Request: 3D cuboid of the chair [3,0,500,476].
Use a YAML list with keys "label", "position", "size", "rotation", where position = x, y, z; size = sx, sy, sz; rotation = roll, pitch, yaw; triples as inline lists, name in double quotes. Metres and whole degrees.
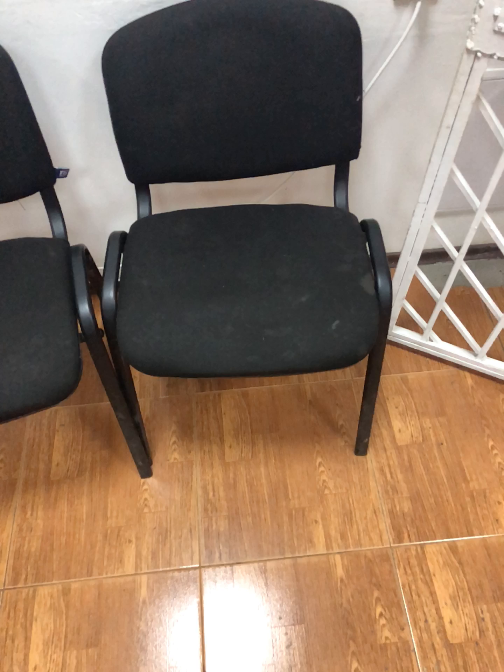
- label: "chair"
  position: [-0.007, -0.162, 1.088]
  size: [0.570, 0.688, 0.622]
  rotation: [-3, 55, -1]
